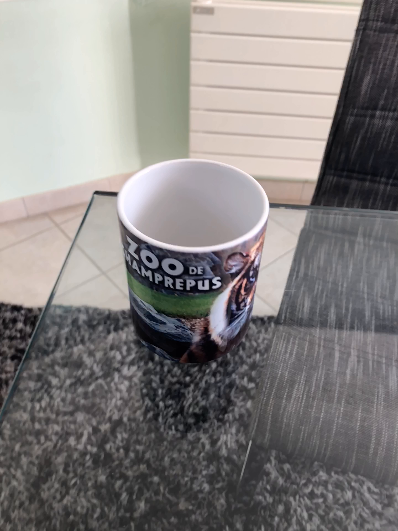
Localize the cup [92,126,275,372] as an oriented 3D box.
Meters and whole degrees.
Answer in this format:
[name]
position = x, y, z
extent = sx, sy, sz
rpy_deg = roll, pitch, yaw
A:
[cup]
position = -0.008, -0.013, 0.267
extent = 0.080, 0.089, 0.121
rpy_deg = 1, 45, -2
